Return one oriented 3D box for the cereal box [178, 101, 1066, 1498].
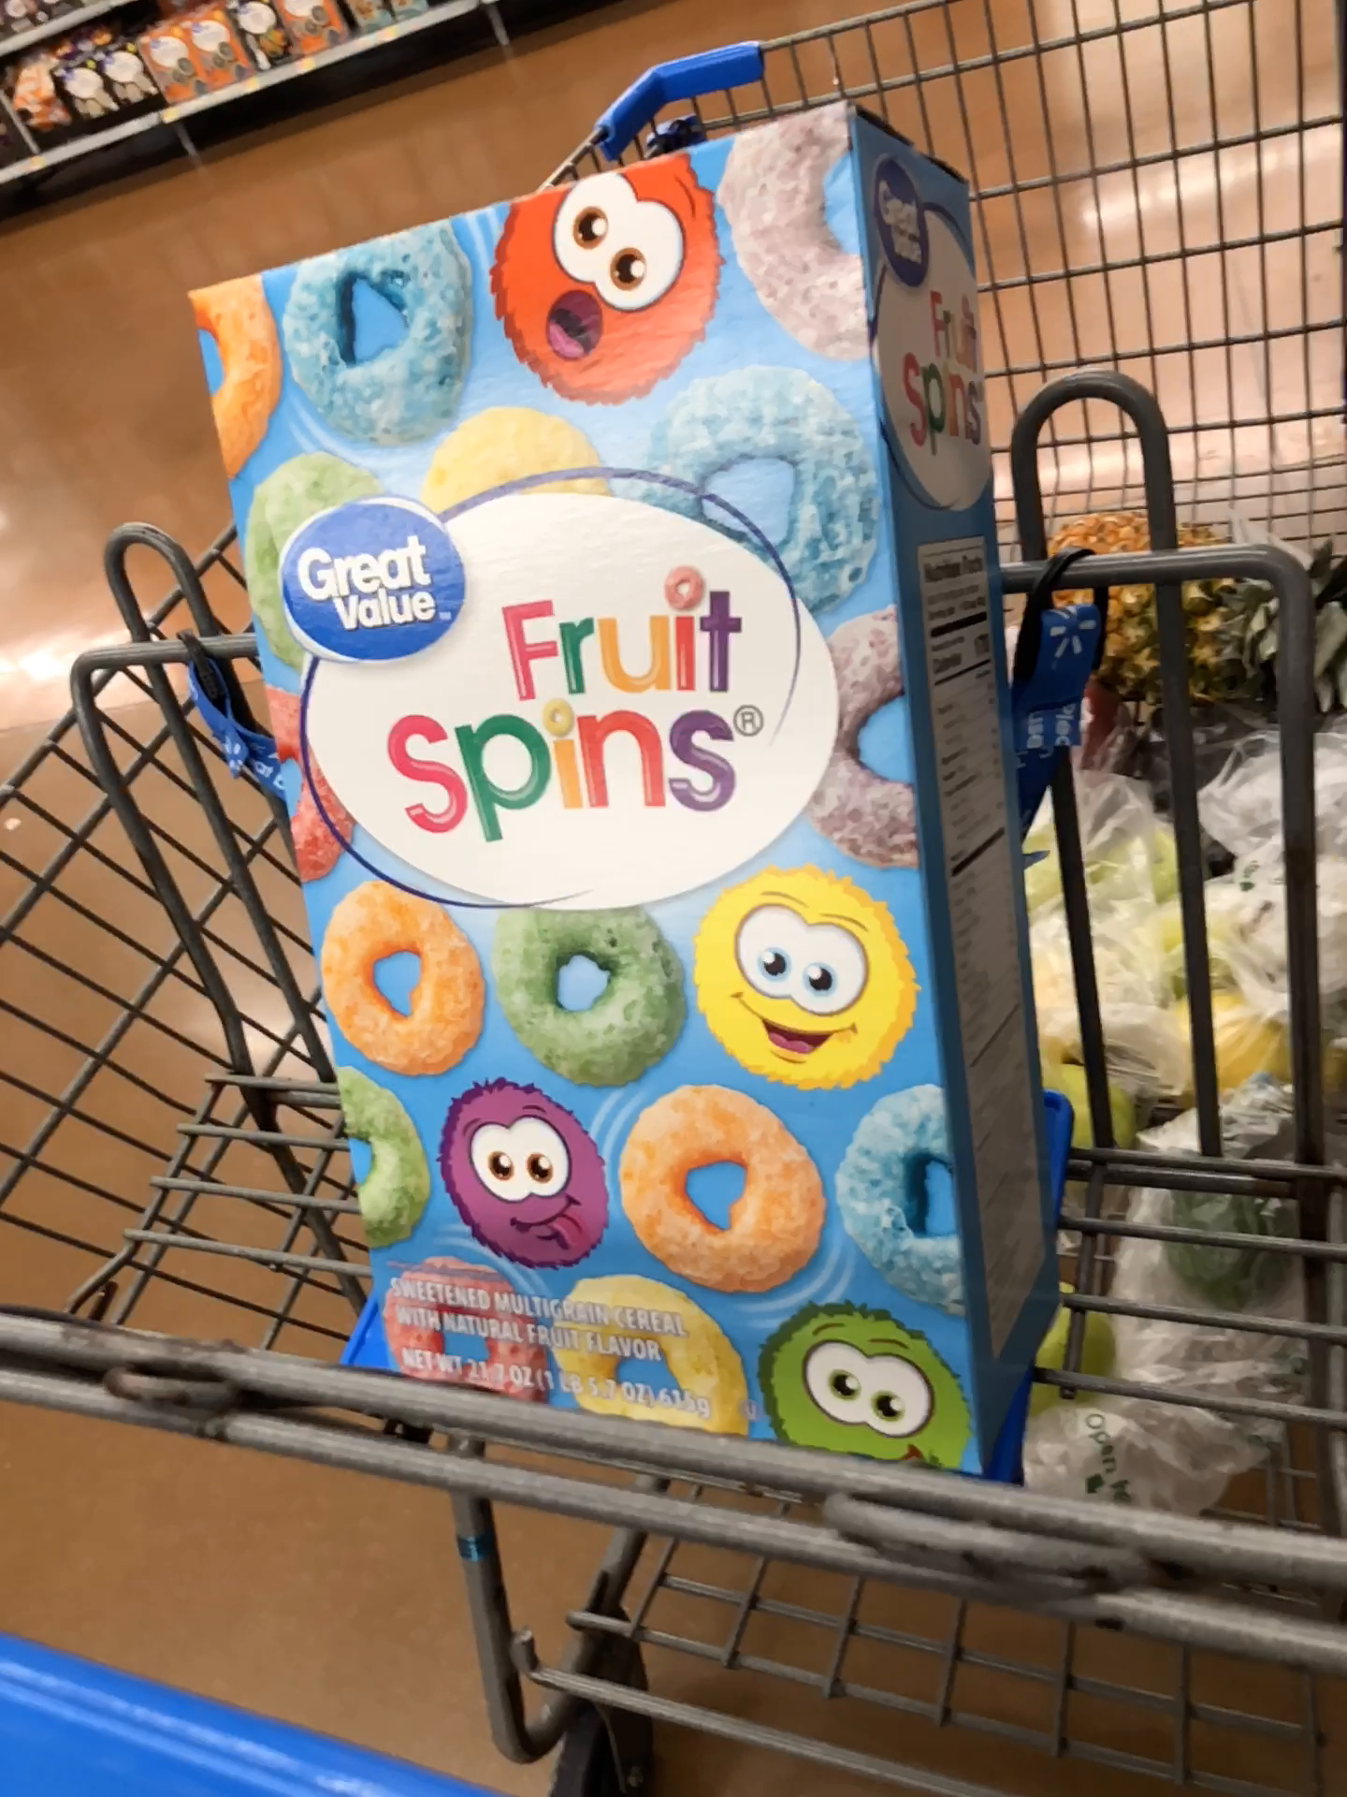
[{"bbox_3d":[-0.006,-0.016,0.437,0.200,0.340,0.090,-1,14,27],"label":"cereal box"}]
